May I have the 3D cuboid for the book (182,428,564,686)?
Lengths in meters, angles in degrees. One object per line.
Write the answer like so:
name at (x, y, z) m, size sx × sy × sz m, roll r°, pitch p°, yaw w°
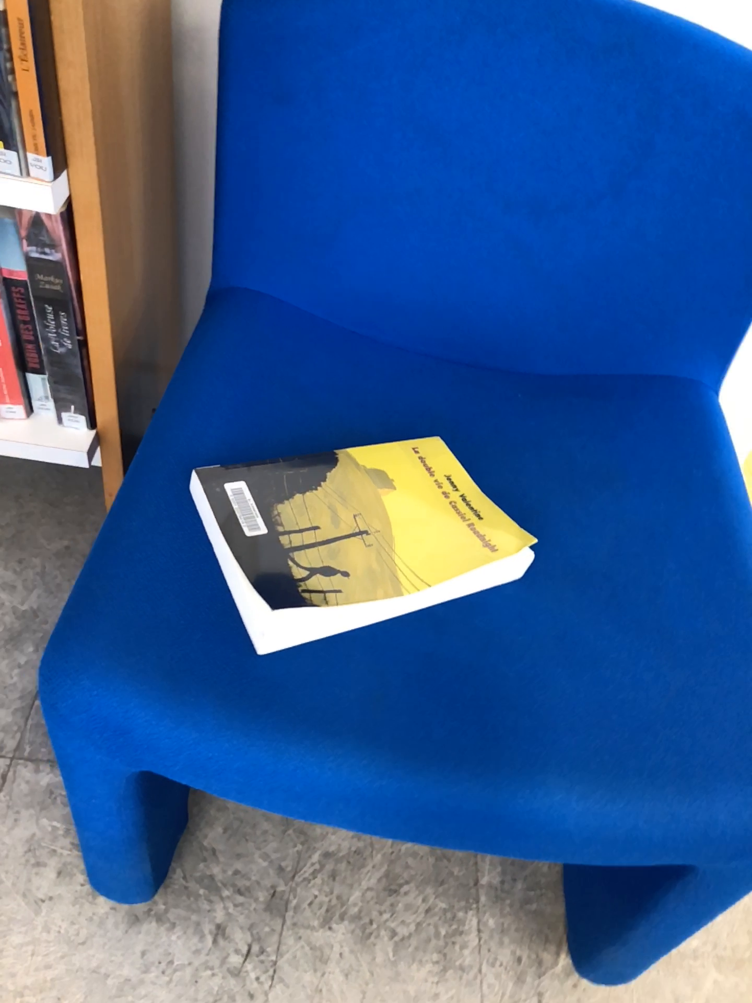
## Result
book at (-0.004, 0.025, 0.556) m, size 0.215 × 0.040 × 0.145 m, roll -10°, pitch 50°, yaw -27°
